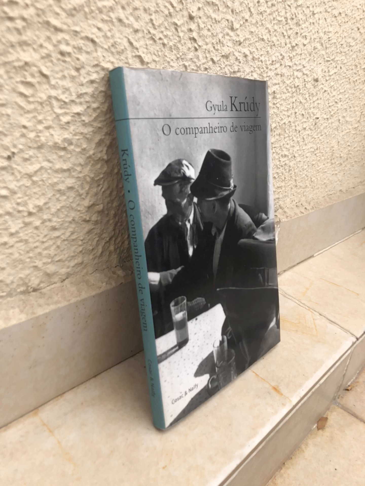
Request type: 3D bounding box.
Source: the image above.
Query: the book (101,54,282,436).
[{"bbox_3d":[0.020,-0.005,0.266,0.019,0.205,0.138,6,16,42],"label":"book"}]
